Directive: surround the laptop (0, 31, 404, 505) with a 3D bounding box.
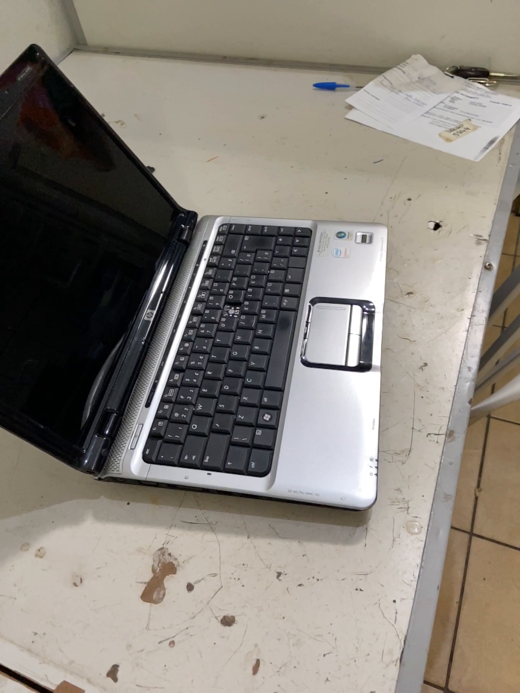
[{"bbox_3d":[-0.064,-0.083,0.444,0.333,0.193,0.322,4,53,11],"label":"laptop"}]
